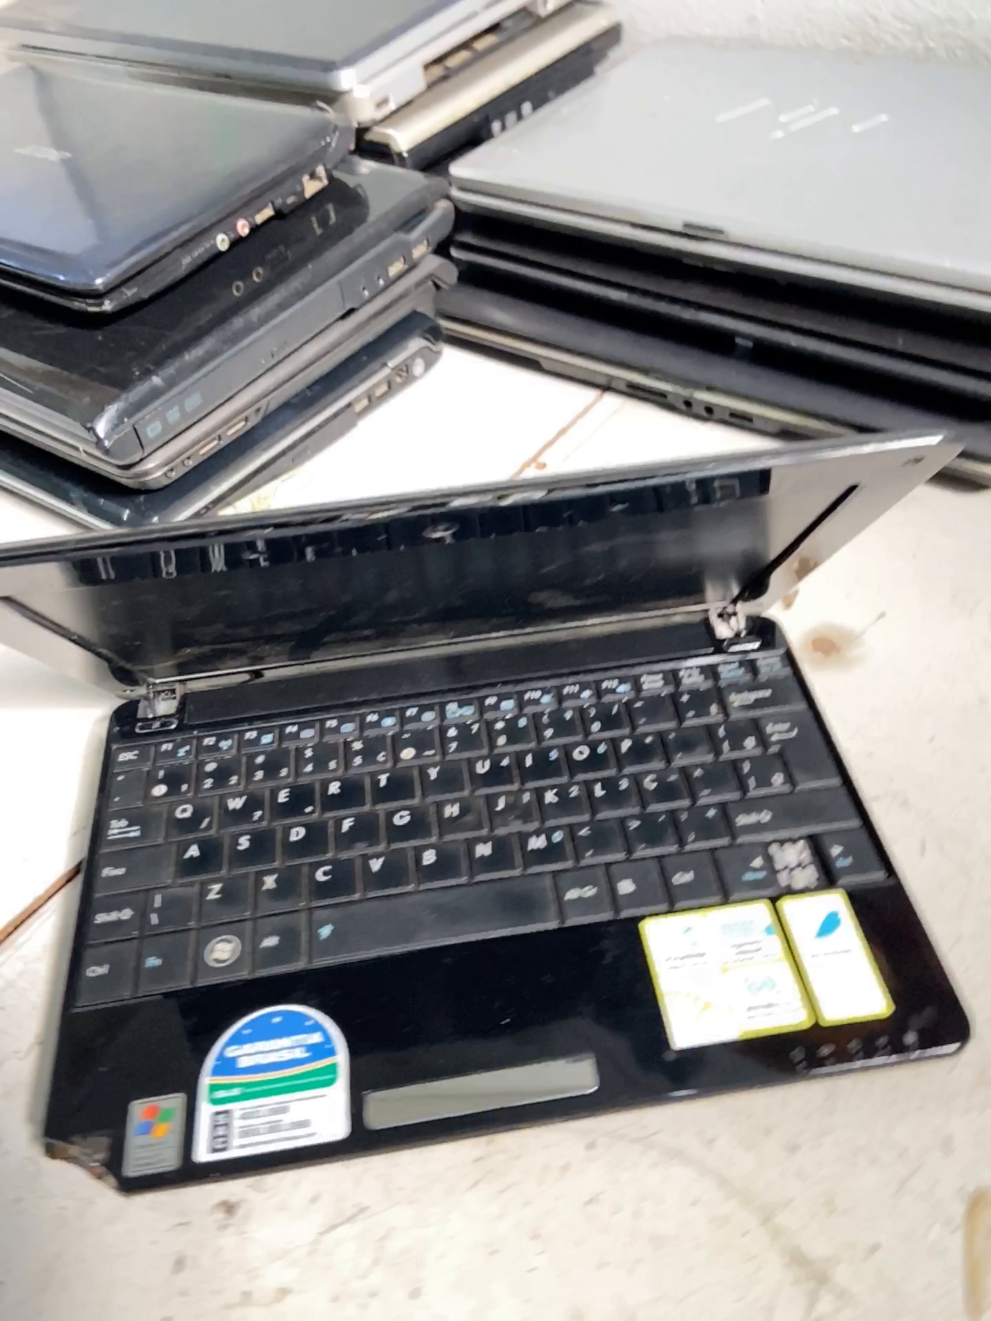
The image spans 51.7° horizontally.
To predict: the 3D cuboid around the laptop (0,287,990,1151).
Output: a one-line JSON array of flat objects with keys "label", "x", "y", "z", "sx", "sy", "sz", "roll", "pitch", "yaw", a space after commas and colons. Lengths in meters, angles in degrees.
[{"label": "laptop", "x": -0.012, "y": 0.010, "z": 0.298, "sx": 0.262, "sy": 0.137, "sz": 0.168, "roll": -7, "pitch": 45, "yaw": -2}]
